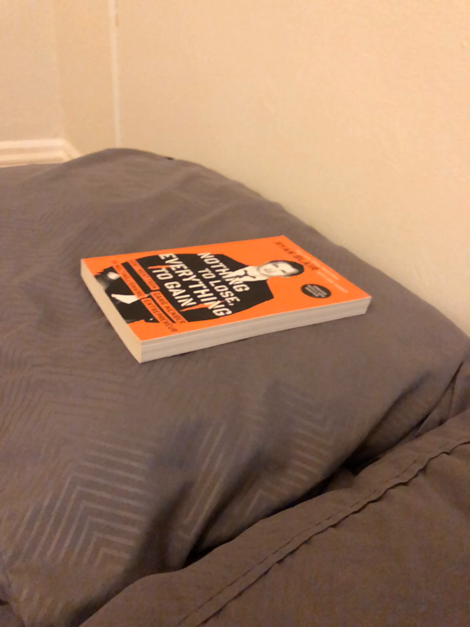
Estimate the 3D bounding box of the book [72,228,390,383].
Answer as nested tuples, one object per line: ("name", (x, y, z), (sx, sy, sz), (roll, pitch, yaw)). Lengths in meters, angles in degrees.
("book", (-0.004, -0.022, 0.450), (0.230, 0.020, 0.151), (-11, 39, -29))
